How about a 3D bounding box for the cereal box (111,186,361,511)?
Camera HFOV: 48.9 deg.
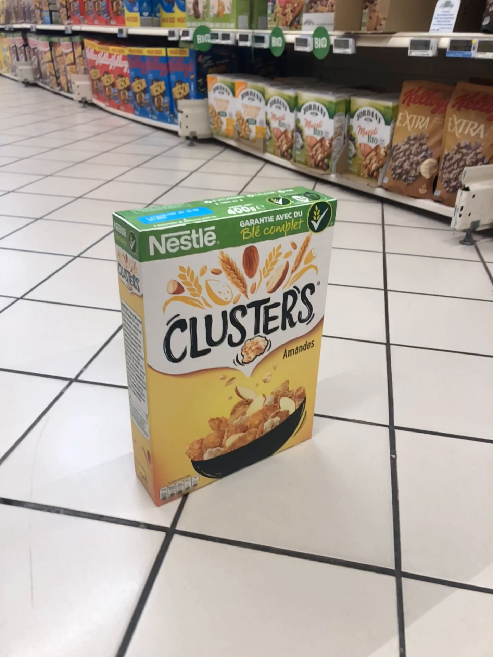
[{"bbox_3d":[-0.007,0.015,0.517,0.211,0.268,0.060,-15,32,-29],"label":"cereal box"}]
